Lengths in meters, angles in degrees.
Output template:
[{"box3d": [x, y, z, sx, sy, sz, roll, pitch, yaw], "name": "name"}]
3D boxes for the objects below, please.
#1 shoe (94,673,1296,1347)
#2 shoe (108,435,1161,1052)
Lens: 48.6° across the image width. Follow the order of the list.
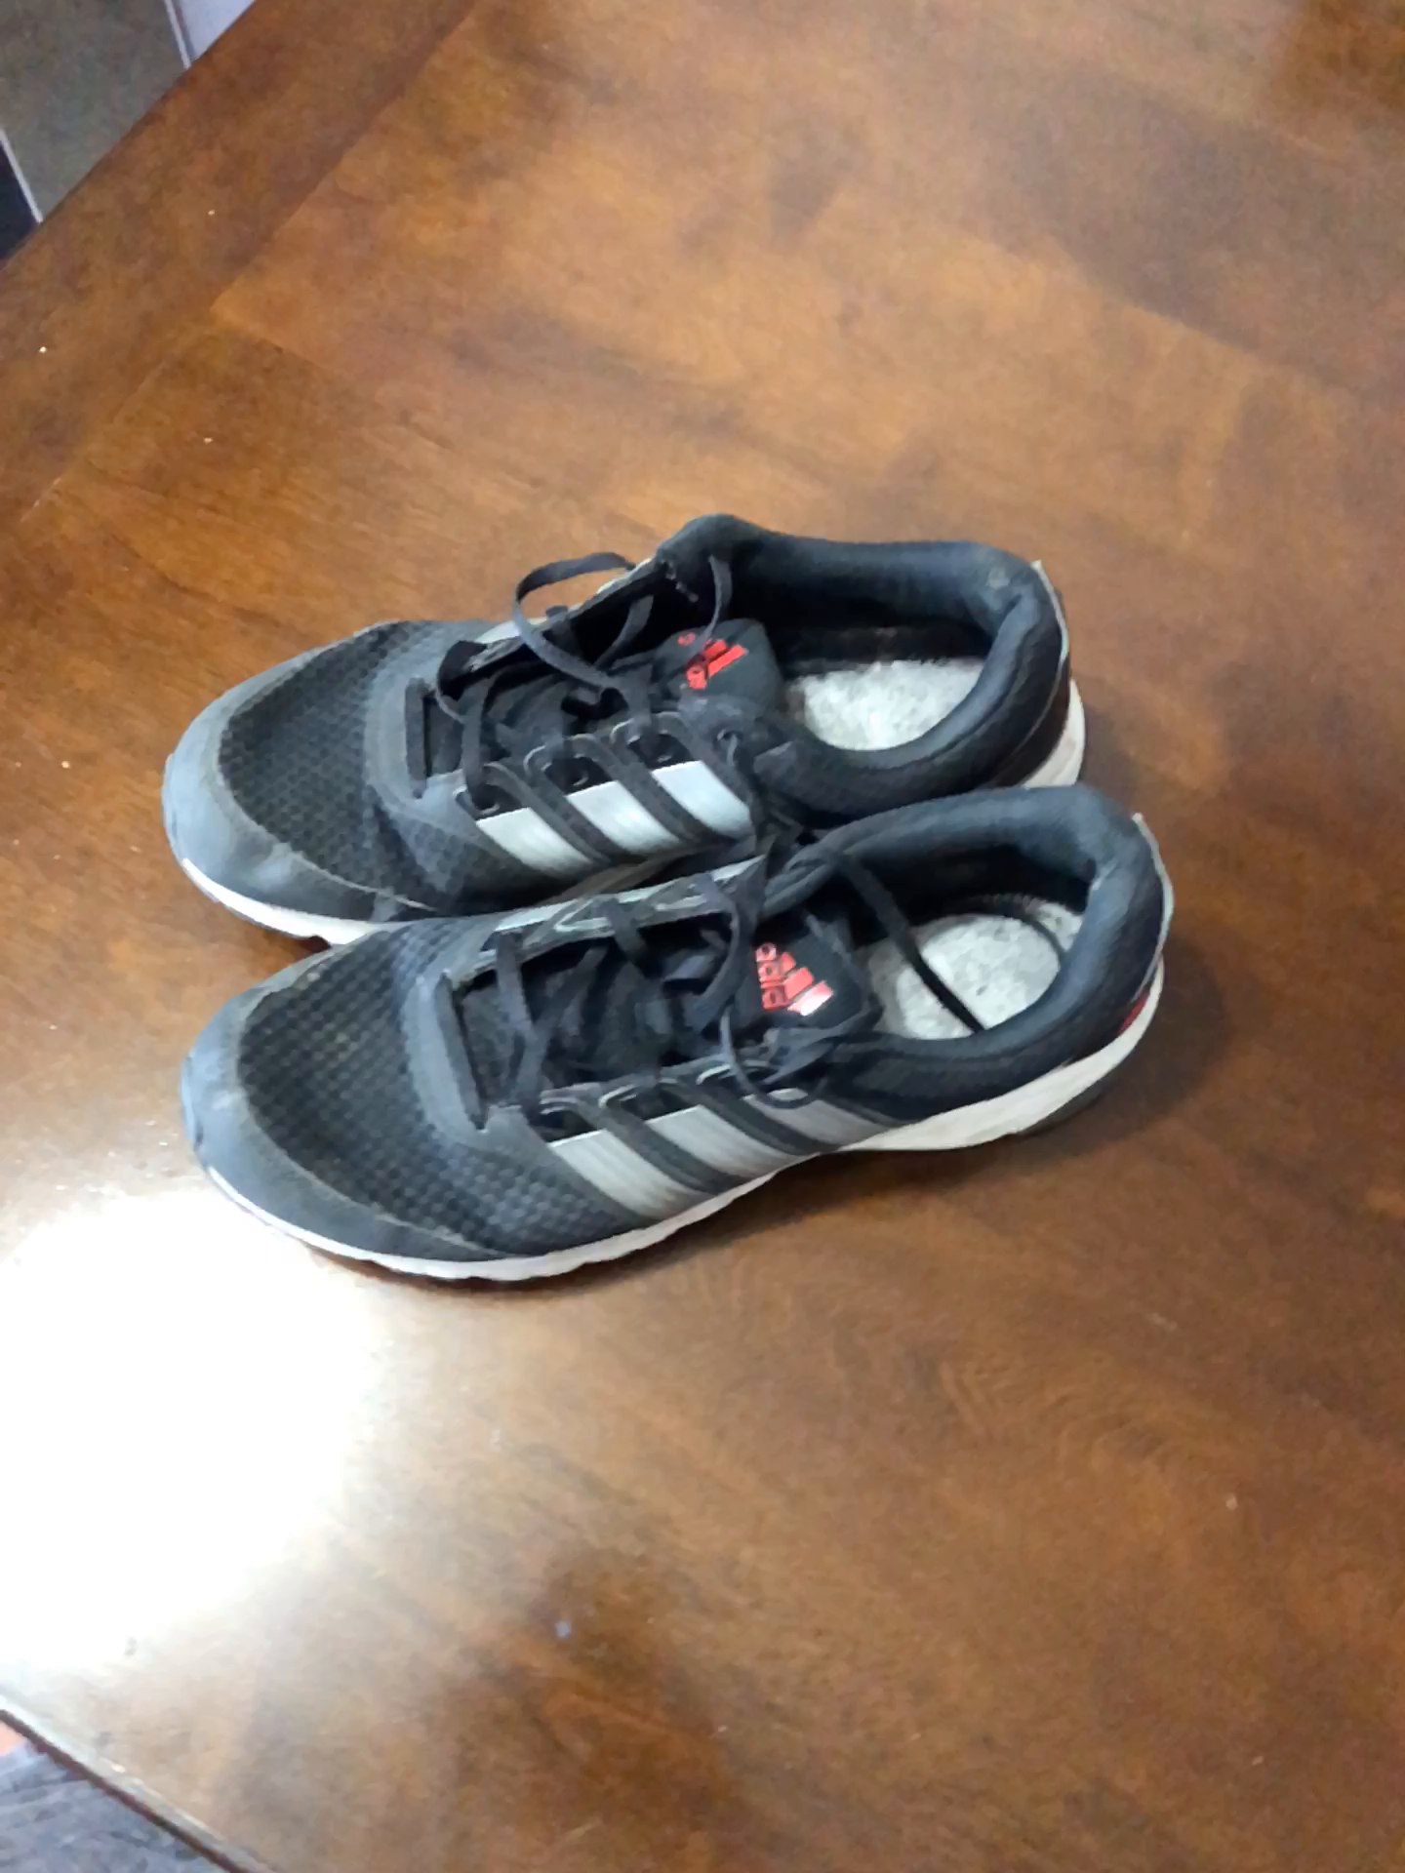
[{"box3d": [-0.008, 0.027, 0.455, 0.290, 0.130, 0.120, -8, 68, -5], "name": "shoe"}, {"box3d": [-0.025, -0.059, 0.505, 0.290, 0.120, 0.120, -8, 68, -5], "name": "shoe"}]
